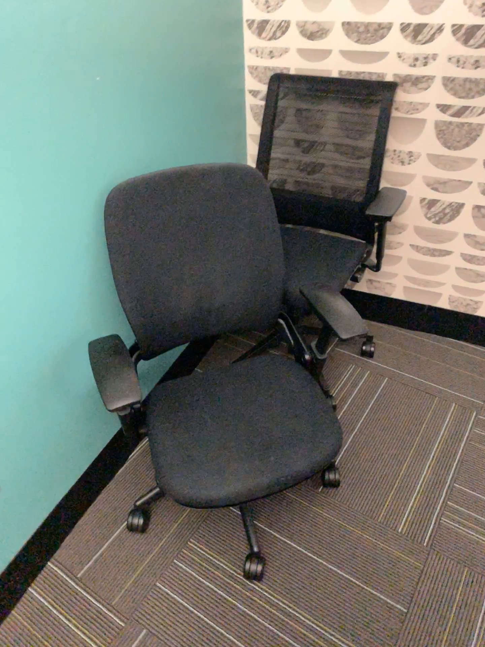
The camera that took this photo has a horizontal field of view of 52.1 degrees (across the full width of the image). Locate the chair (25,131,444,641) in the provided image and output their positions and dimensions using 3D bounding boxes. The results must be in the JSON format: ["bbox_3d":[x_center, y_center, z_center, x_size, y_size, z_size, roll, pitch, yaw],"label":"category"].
[{"bbox_3d":[-0.085,0.125,1.323,0.660,0.944,0.775,-13,39,-13],"label":"chair"}]
